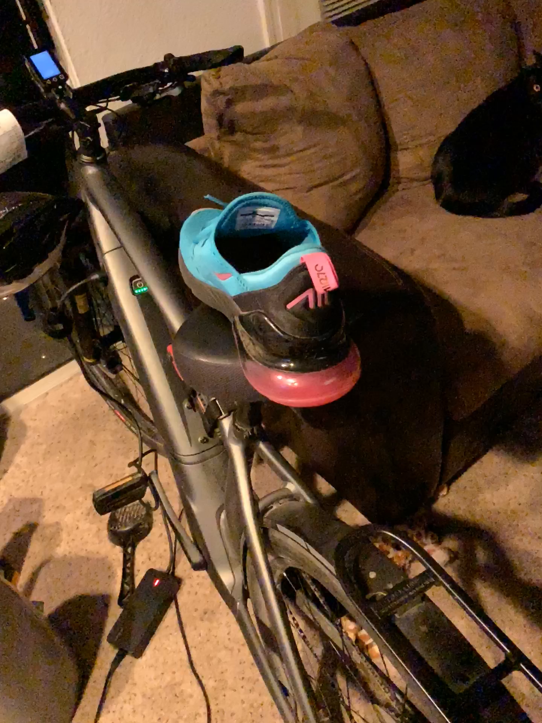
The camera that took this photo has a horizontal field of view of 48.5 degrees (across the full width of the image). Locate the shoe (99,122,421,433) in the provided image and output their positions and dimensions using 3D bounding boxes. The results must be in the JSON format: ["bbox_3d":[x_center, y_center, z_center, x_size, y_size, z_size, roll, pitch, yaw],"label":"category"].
[{"bbox_3d":[-0.024,-0.107,0.591,0.150,0.130,0.330,-28,44,-17],"label":"shoe"}]
